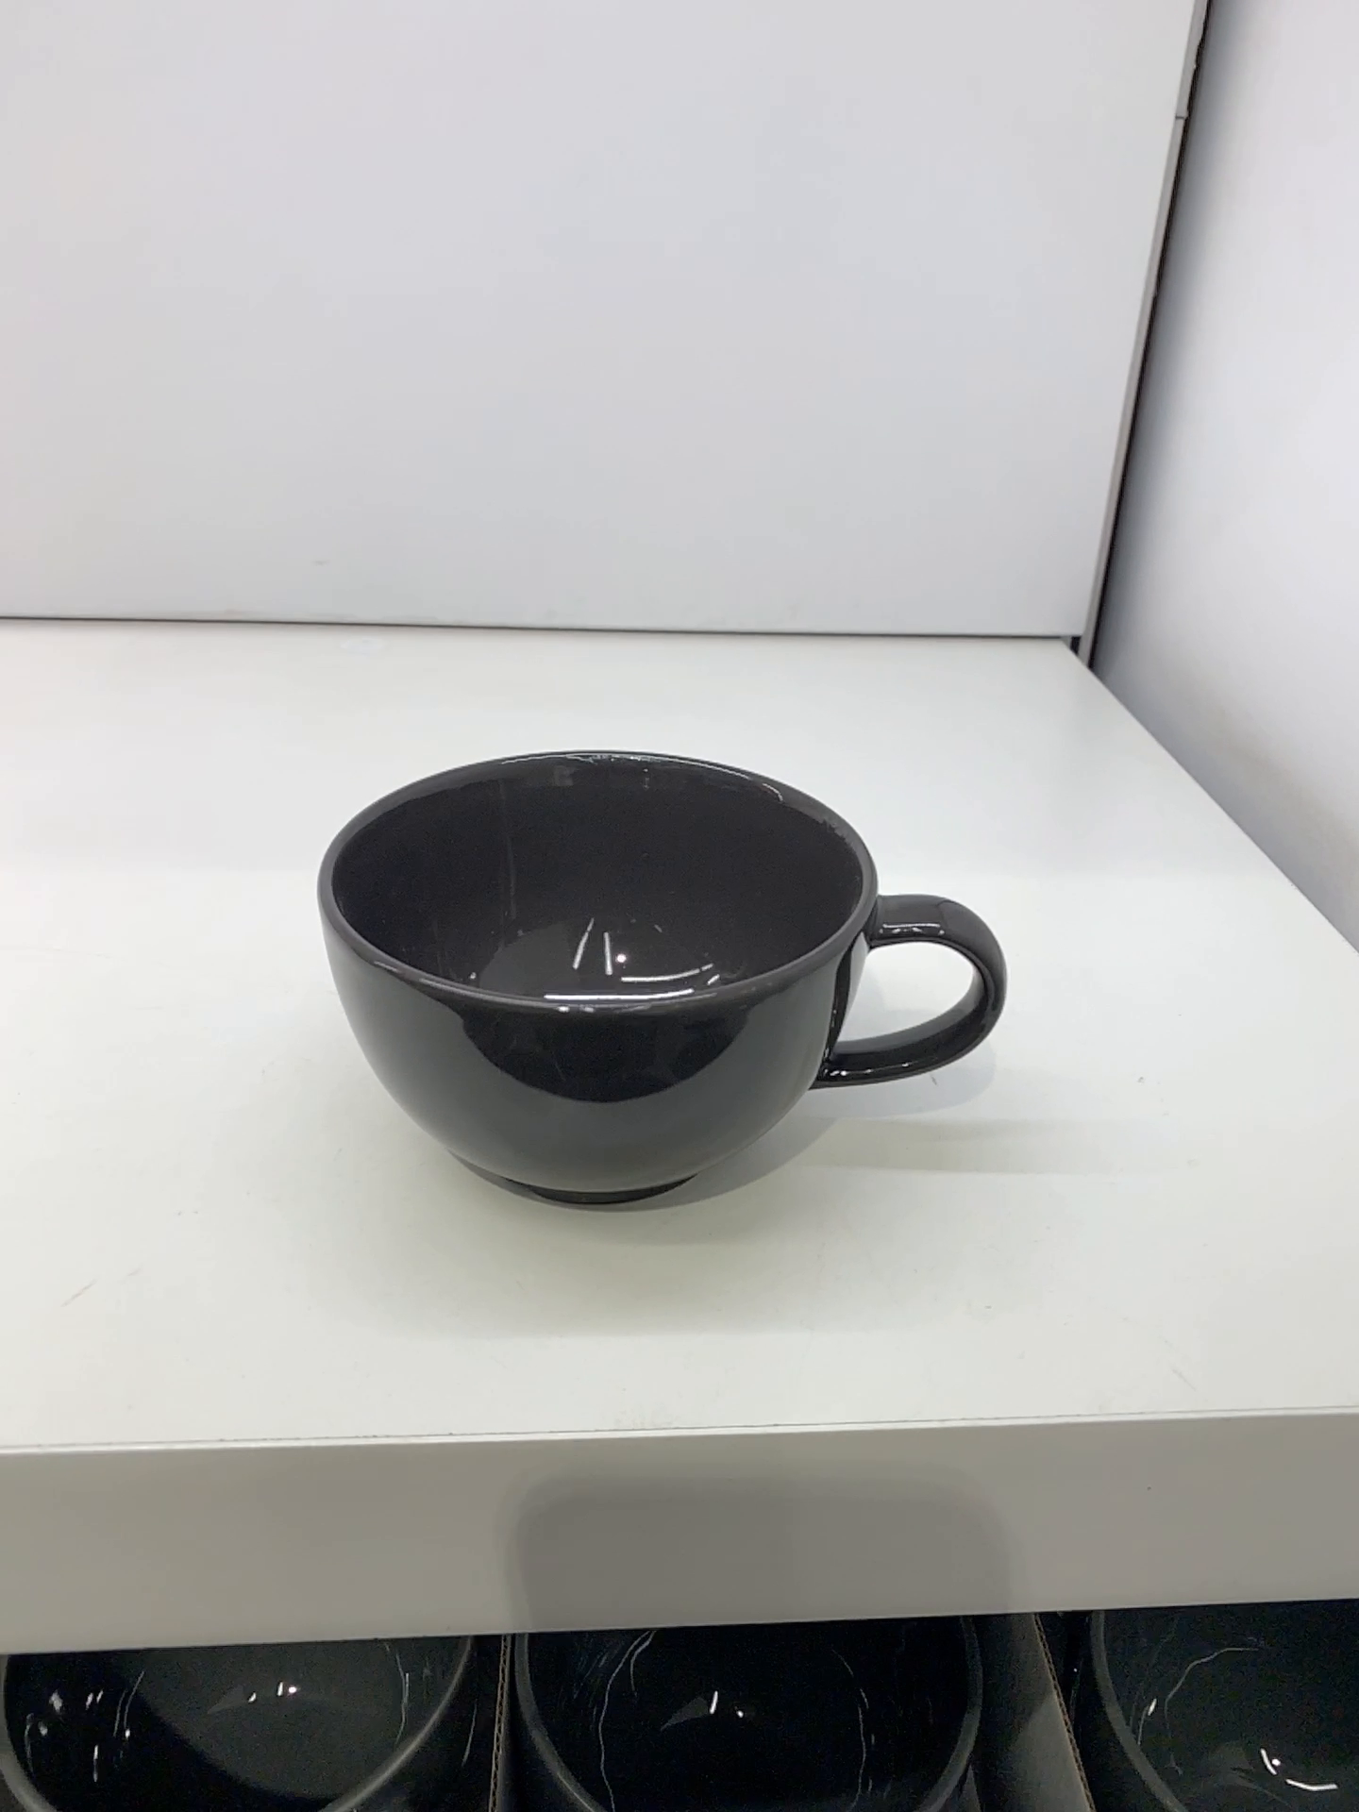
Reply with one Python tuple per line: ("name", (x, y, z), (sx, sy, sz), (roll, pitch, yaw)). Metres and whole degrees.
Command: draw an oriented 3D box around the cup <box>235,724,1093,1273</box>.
("cup", (-0.002, 0.011, 0.273), (0.130, 0.050, 0.111), (3, 28, 0))
